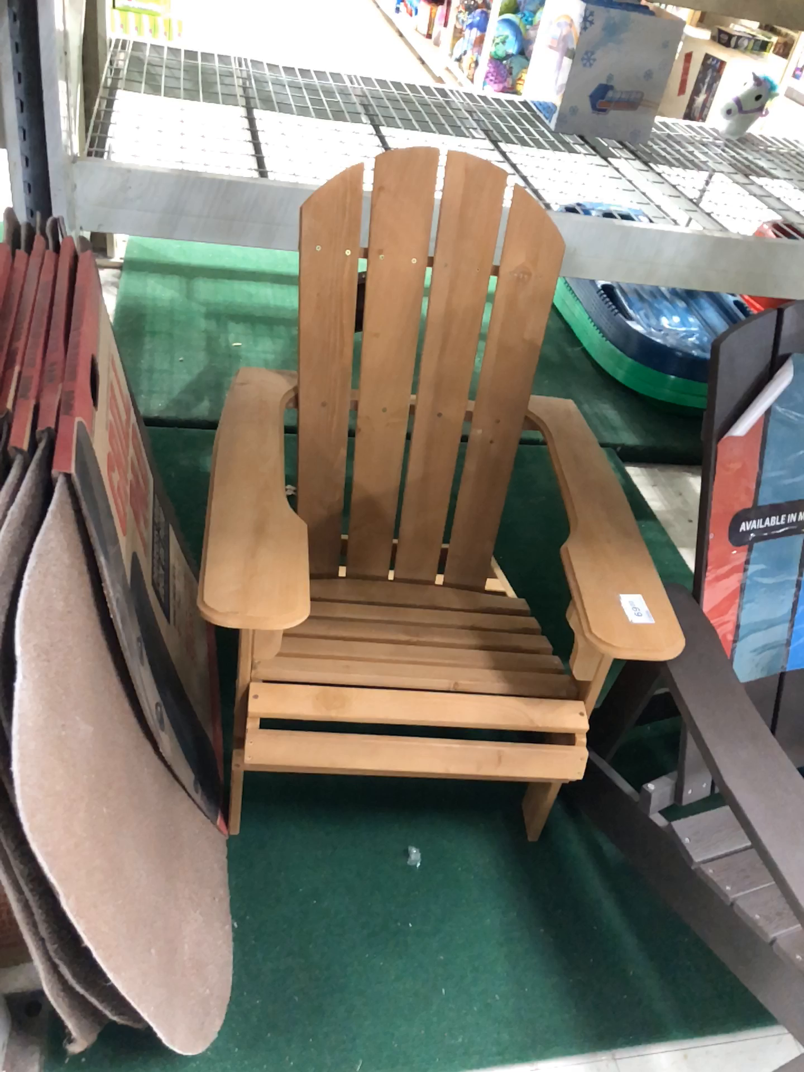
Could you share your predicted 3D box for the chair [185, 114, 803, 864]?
[{"bbox_3d":[0.037,-0.048,1.388,0.641,0.885,0.690,5,39,-10],"label":"chair"}]
